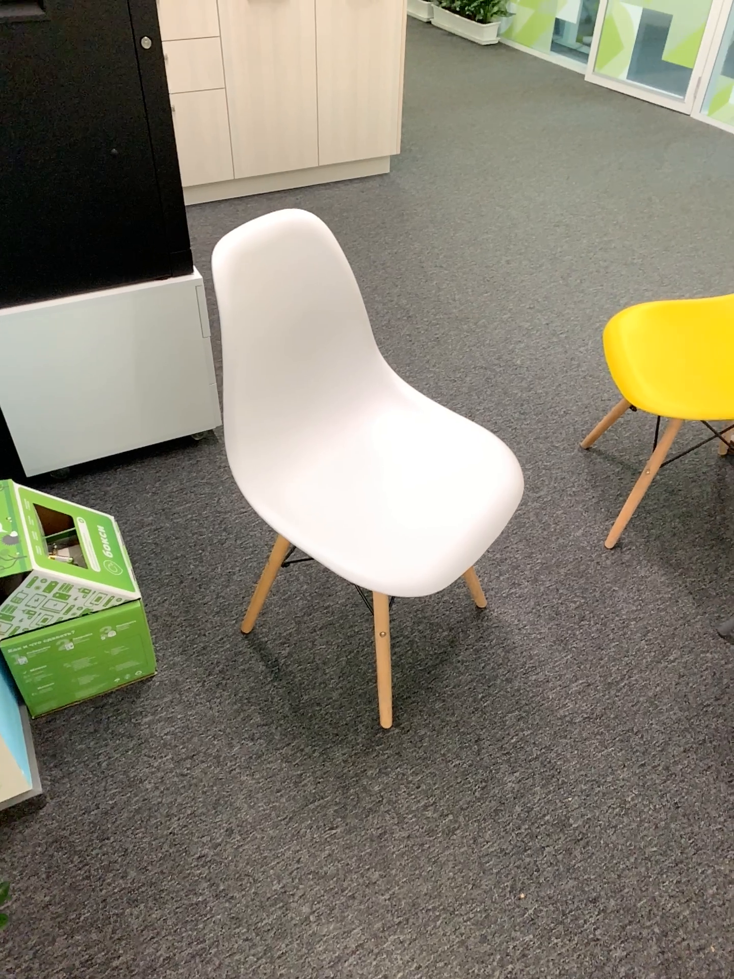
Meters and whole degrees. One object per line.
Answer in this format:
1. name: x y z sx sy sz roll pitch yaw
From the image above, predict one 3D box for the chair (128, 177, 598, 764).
1. chair: -0.007 -0.024 1.351 0.501 0.816 0.462 28 48 26
